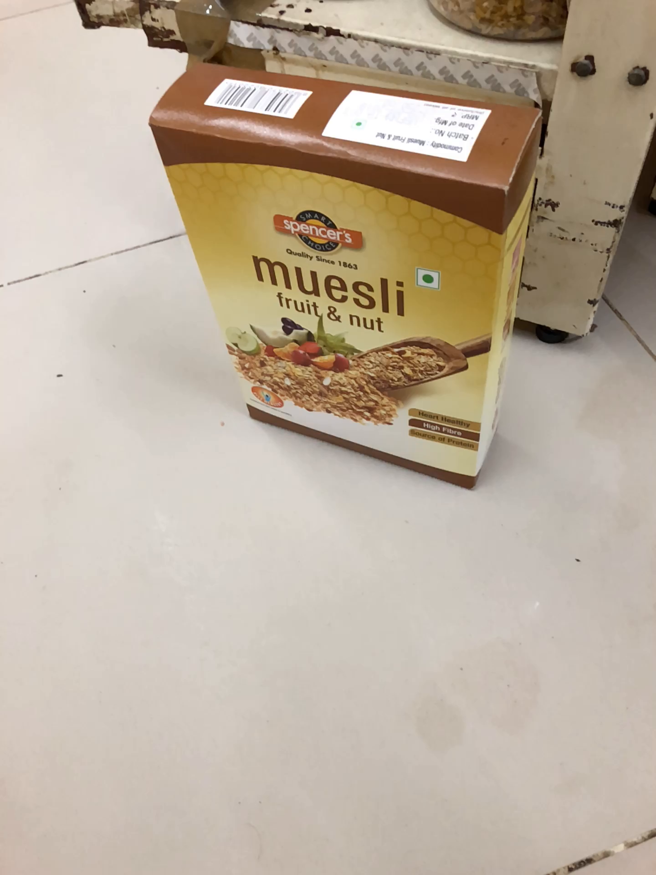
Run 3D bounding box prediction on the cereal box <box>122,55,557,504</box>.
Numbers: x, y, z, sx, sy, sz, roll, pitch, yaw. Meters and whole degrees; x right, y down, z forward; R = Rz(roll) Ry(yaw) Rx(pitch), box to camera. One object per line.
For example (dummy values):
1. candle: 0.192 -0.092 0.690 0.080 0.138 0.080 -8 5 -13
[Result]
1. cereal box: 0.012 -0.077 0.424 0.190 0.239 0.060 18 58 19
